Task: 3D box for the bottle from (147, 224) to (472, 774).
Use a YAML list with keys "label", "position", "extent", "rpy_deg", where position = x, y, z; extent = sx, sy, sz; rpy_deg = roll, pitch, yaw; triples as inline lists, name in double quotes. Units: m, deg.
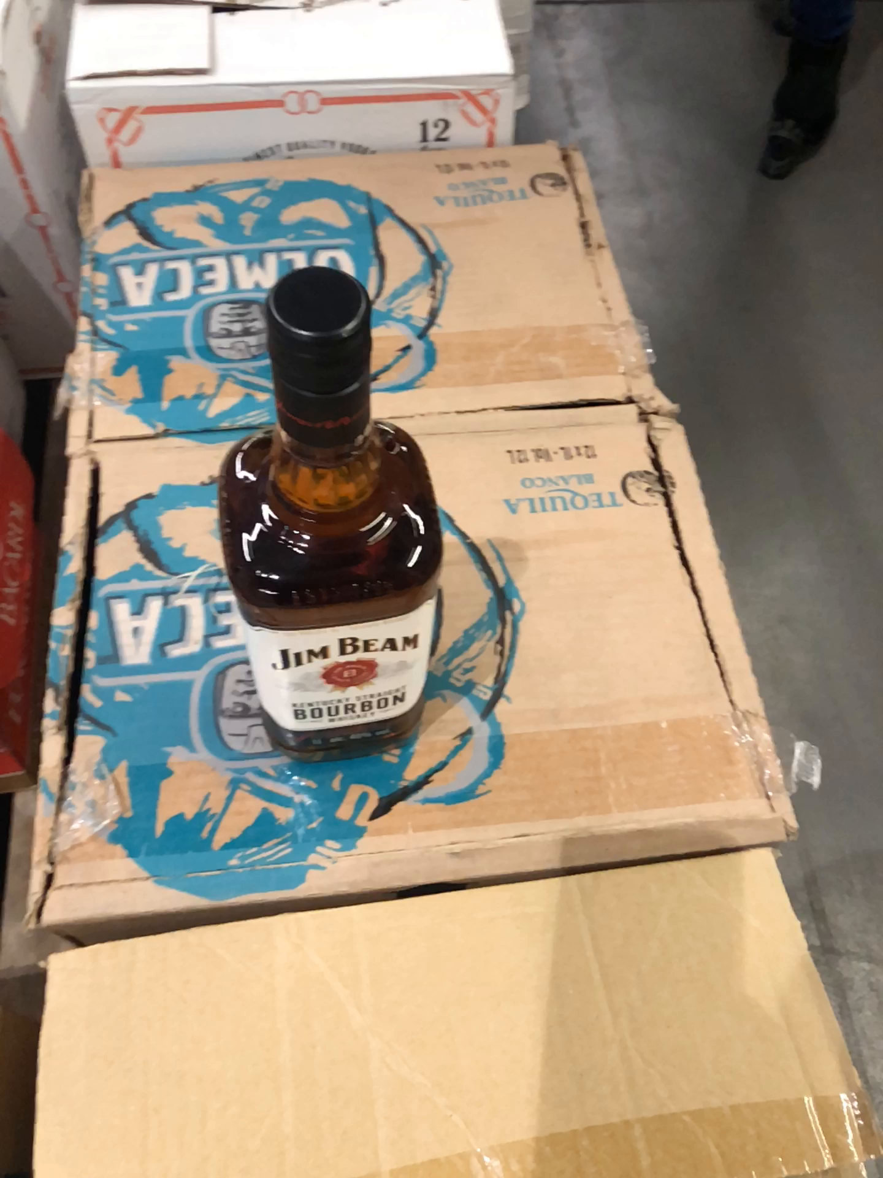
- label: "bottle"
  position: [-0.048, -0.013, 0.406]
  extent: [0.091, 0.264, 0.081]
  rpy_deg: [-7, 60, -7]
